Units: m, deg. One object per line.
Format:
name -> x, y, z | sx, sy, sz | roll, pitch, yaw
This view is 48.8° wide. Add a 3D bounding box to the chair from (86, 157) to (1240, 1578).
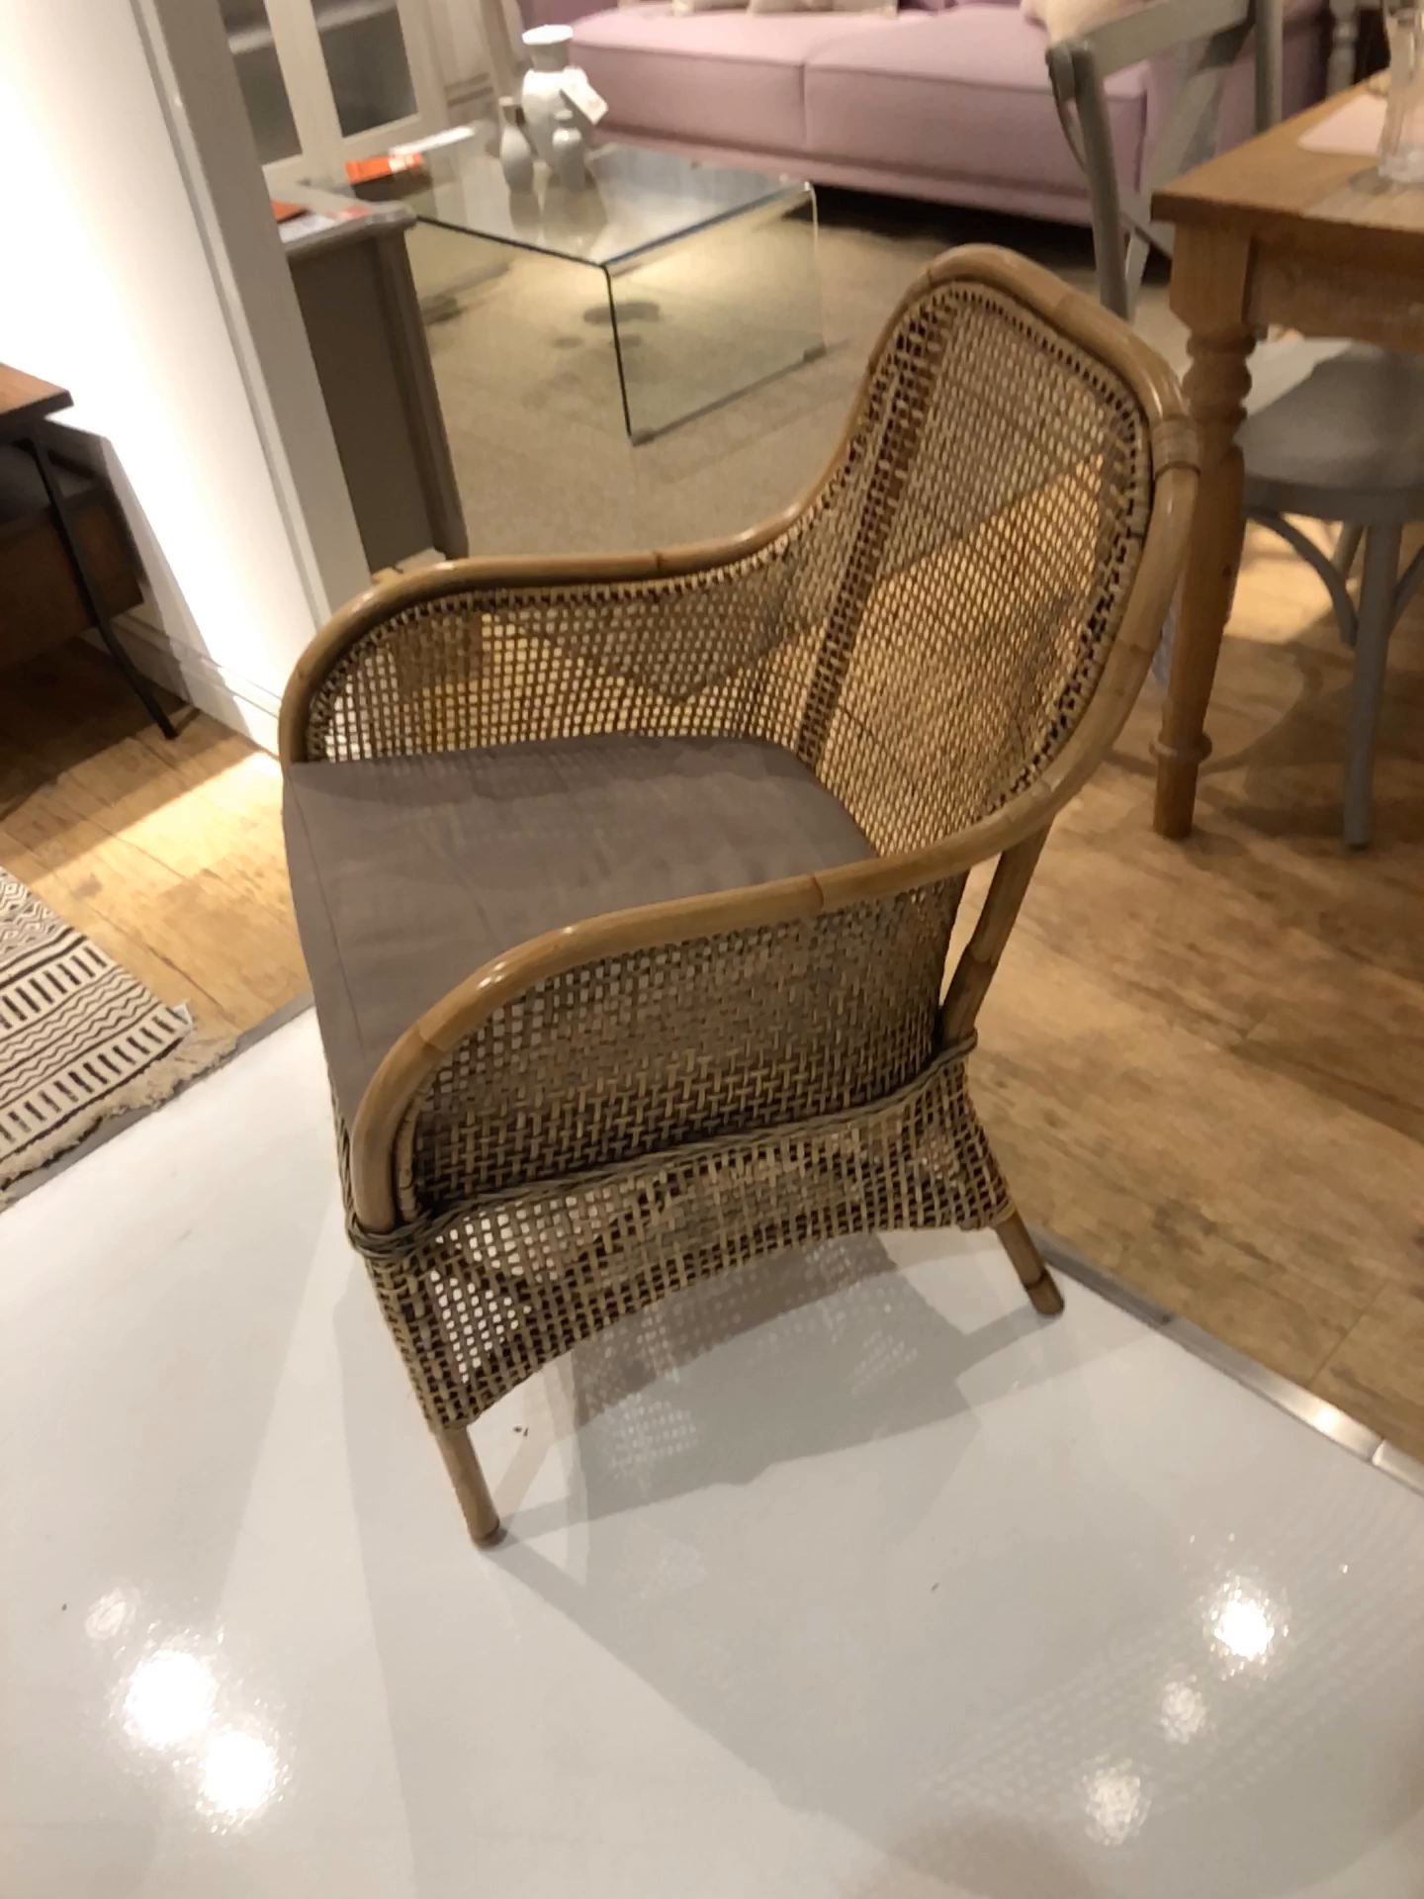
chair -> -0.037, -0.056, 1.311 | 0.620, 0.902, 0.544 | -17, 41, -11
